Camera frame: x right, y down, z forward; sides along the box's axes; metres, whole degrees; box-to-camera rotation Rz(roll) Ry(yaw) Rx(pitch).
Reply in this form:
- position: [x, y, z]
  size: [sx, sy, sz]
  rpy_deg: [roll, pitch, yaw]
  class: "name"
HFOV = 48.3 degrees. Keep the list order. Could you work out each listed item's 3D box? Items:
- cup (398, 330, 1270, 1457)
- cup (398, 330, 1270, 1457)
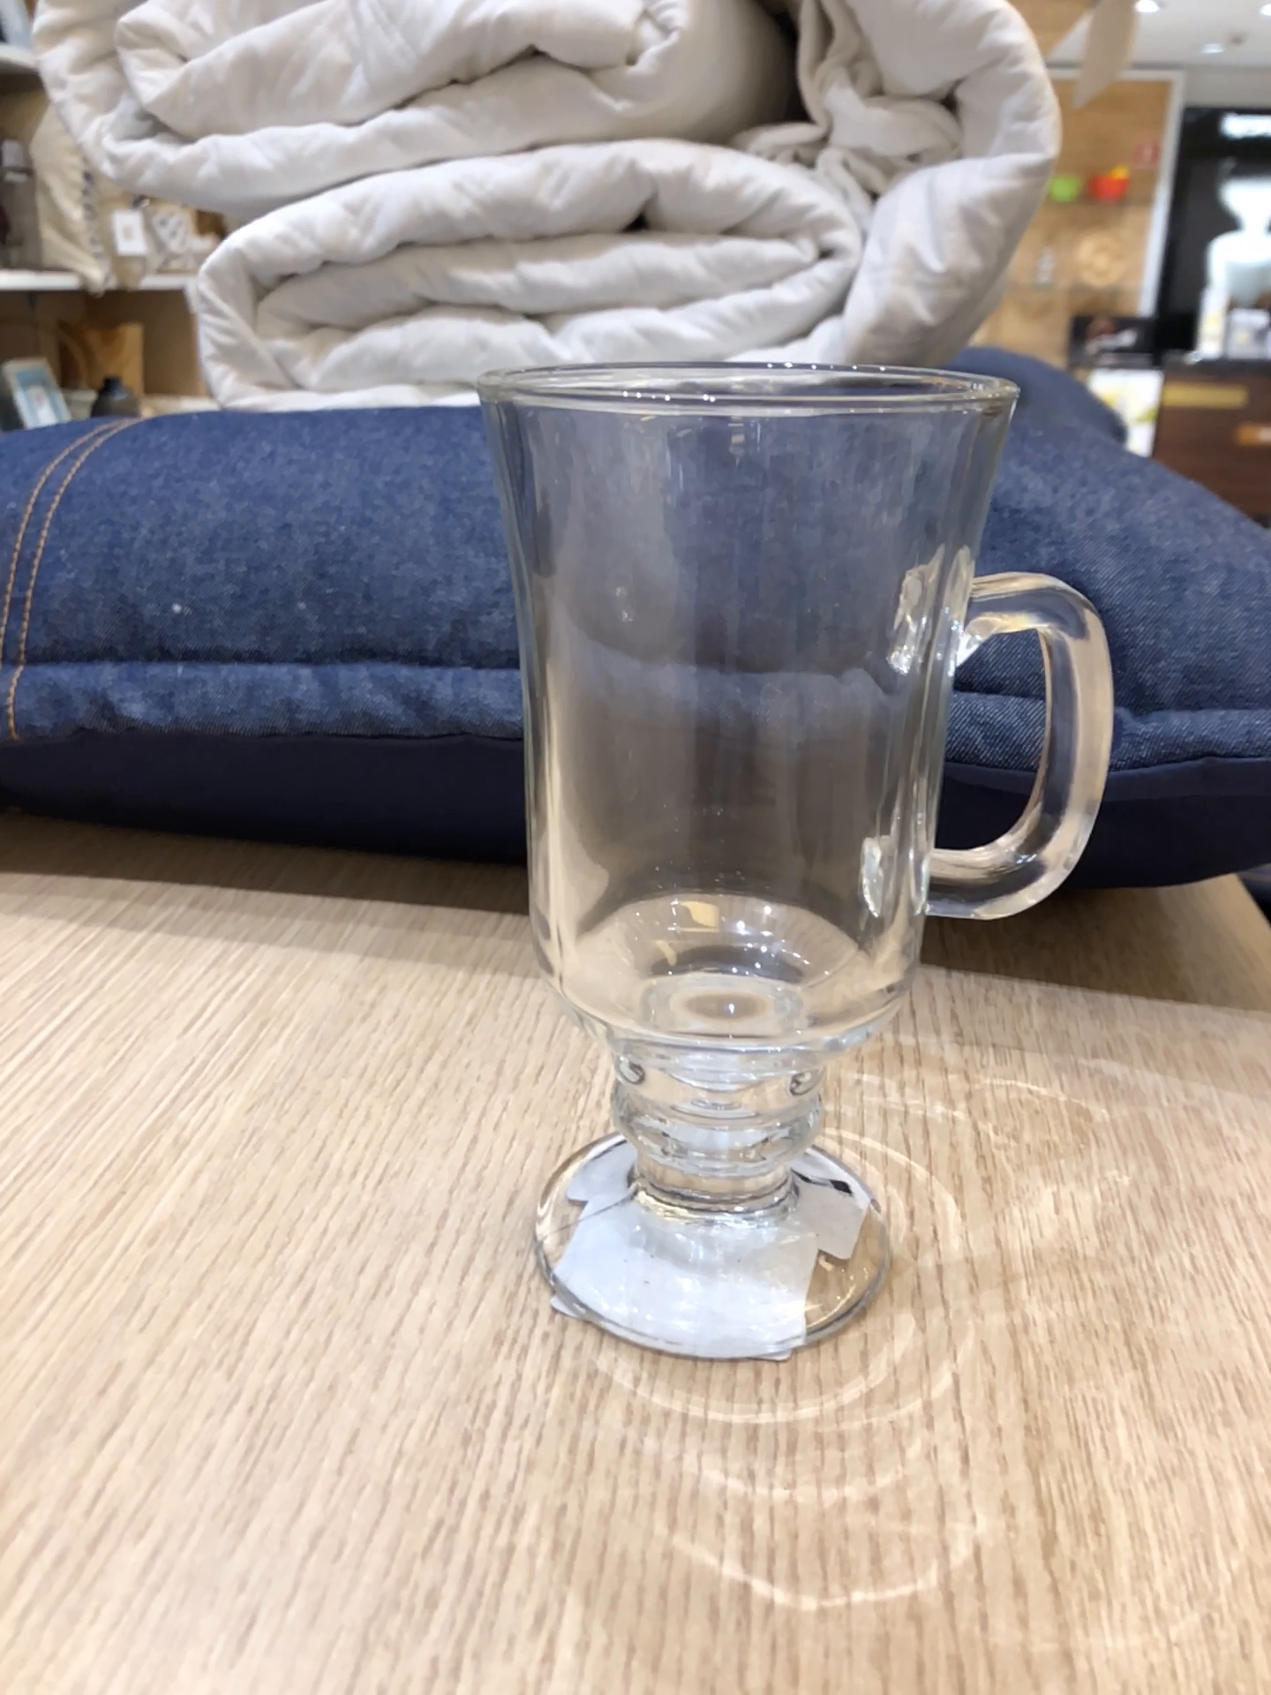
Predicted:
- position: [0.029, 0.000, 0.224]
  size: [0.110, 0.149, 0.091]
  rpy_deg: [2, 21, 2]
  class: "cup"
- position: [0.029, 0.000, 0.224]
  size: [0.110, 0.149, 0.091]
  rpy_deg: [2, 21, 2]
  class: "cup"
